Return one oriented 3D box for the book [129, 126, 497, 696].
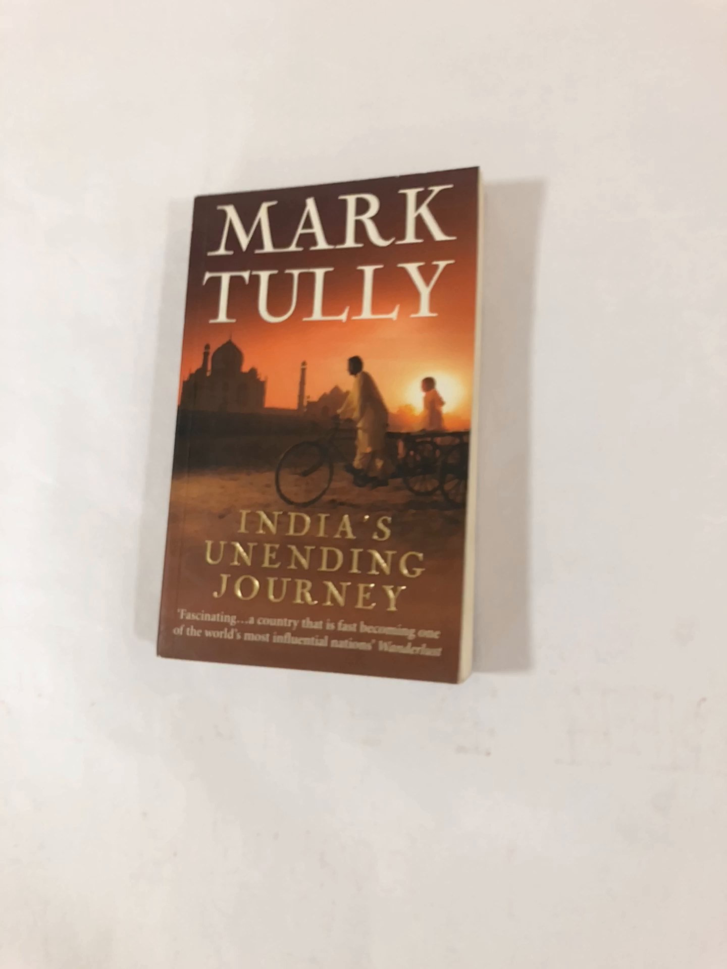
[{"bbox_3d":[-0.018,-0.030,0.326,0.130,0.030,0.210,1,82,15],"label":"book"}]
